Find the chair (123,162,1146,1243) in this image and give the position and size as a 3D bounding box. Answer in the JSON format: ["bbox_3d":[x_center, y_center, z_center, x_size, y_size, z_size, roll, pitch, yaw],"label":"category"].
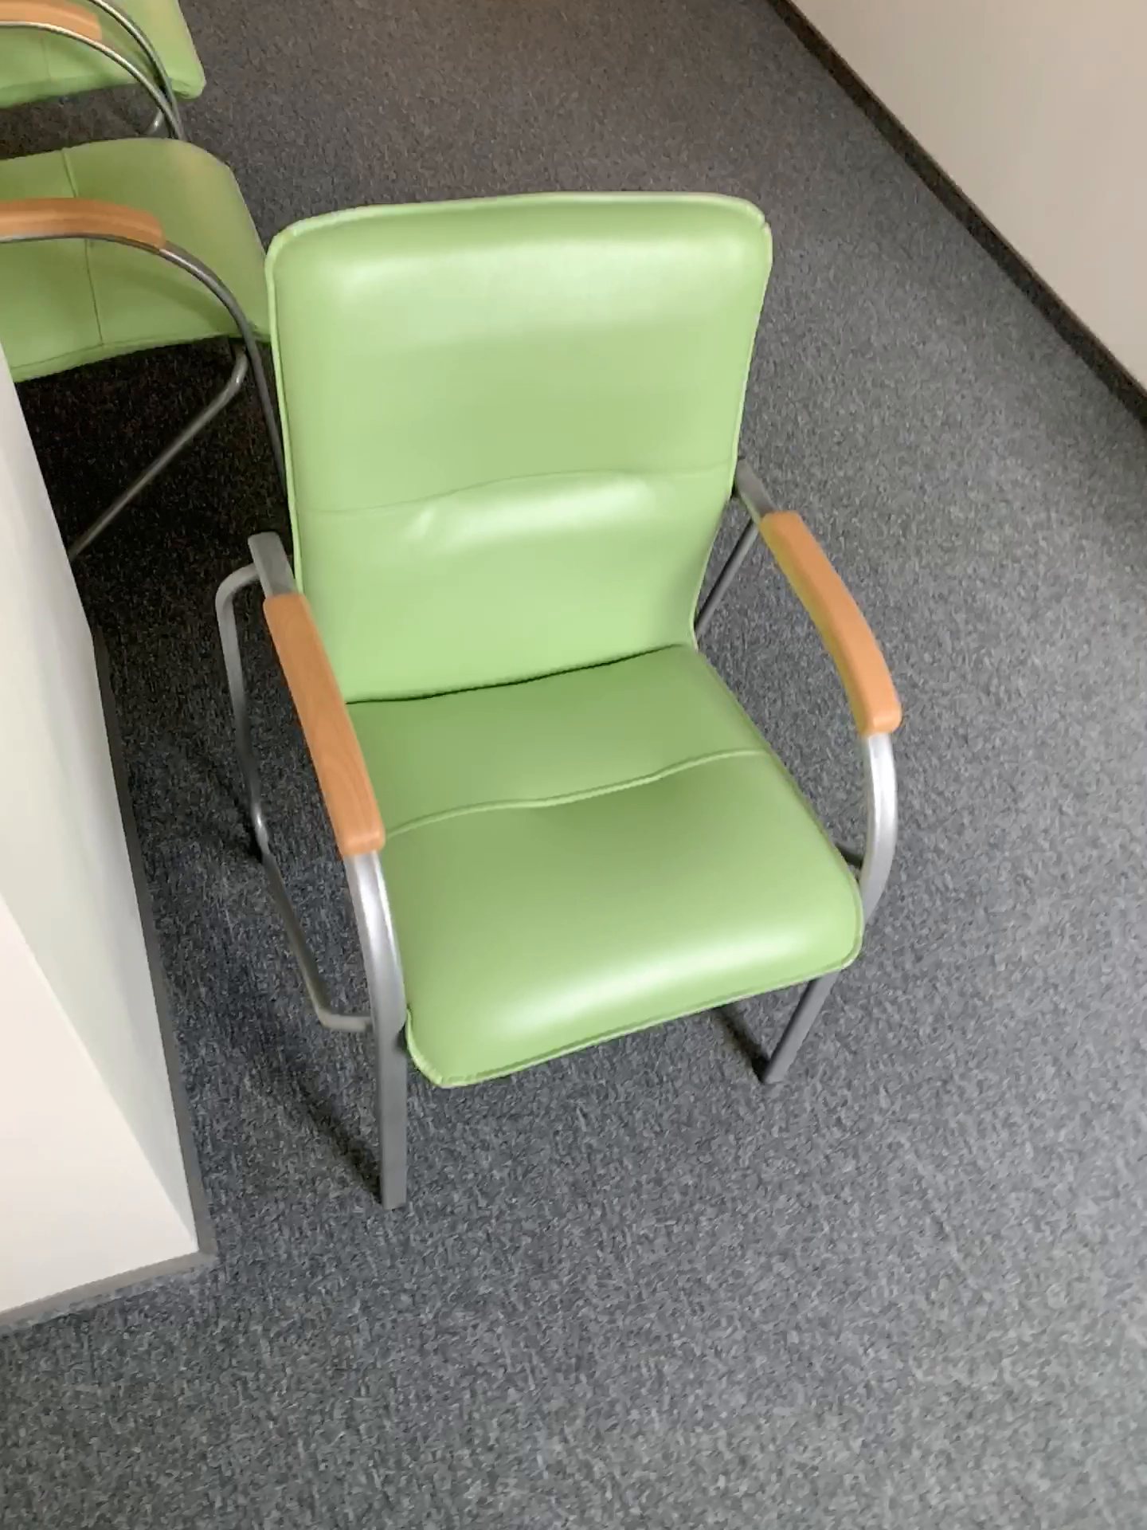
[{"bbox_3d":[-0.025,-0.016,1.223,0.621,0.876,0.622,-12,58,-17],"label":"chair"}]
